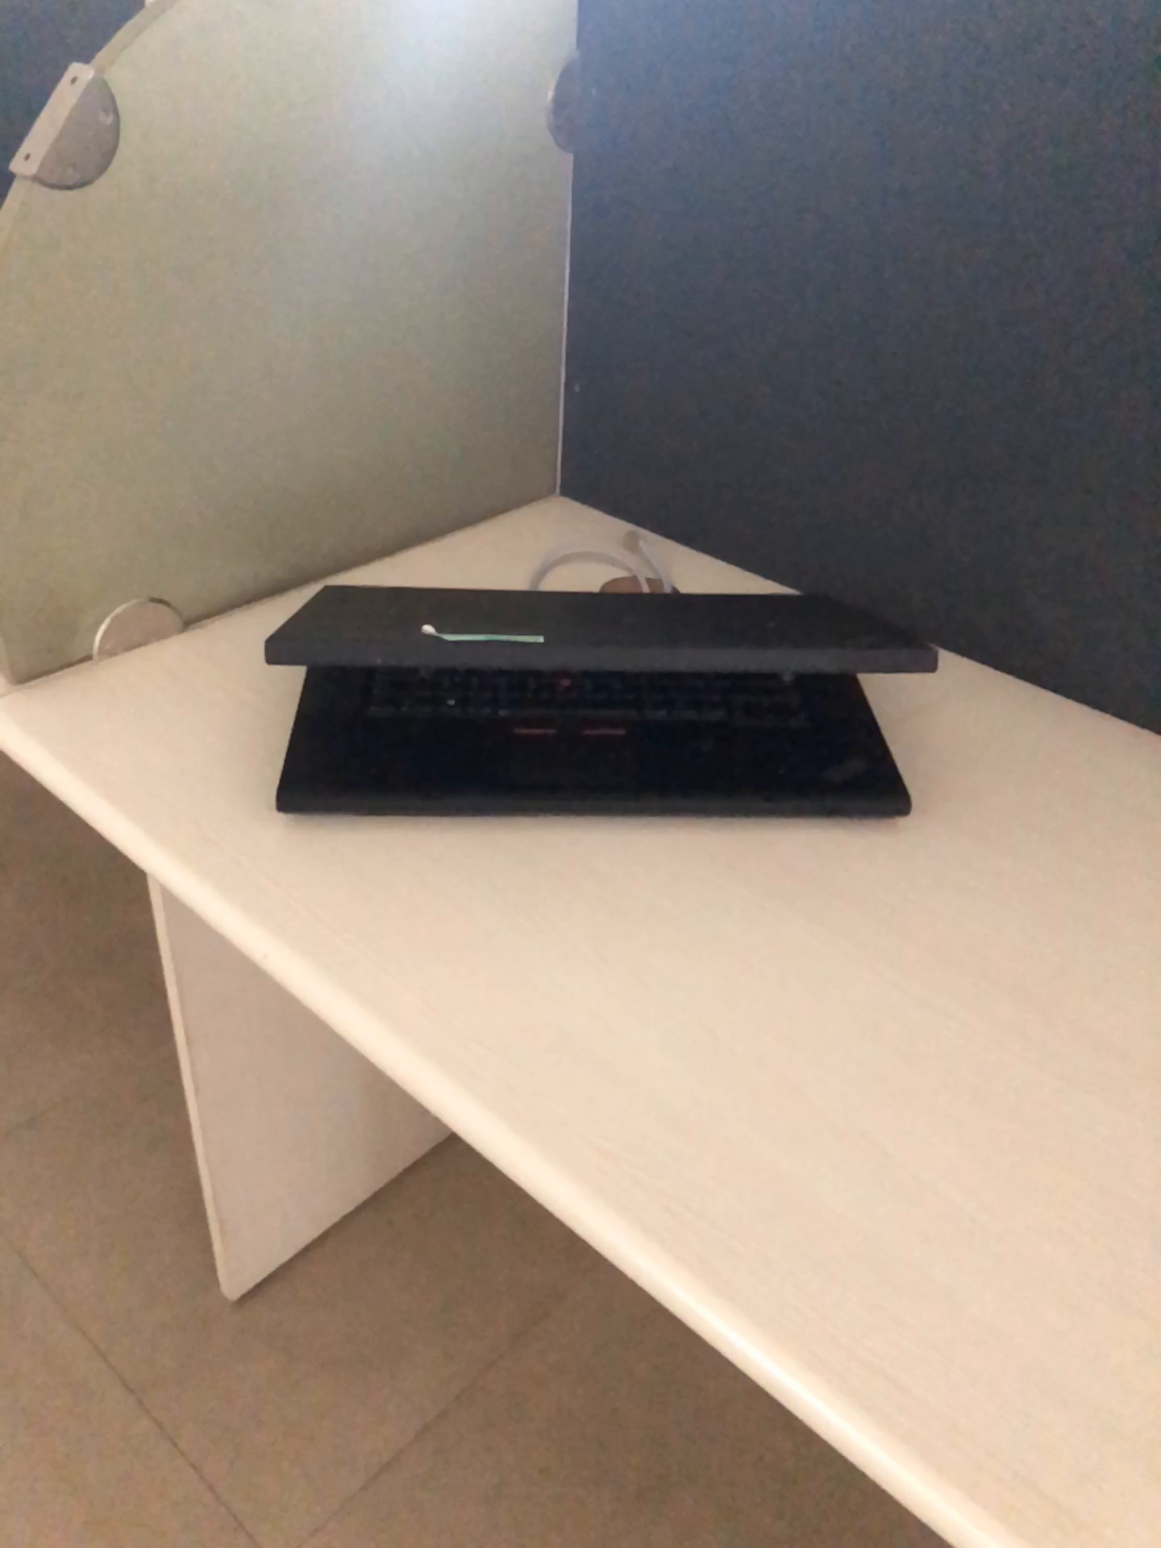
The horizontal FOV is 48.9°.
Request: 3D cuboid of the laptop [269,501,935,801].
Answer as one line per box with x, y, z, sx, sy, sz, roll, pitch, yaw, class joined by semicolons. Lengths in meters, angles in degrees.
0.007;-0.085;0.811;0.363;0.077;0.236;1;34;-4;laptop
